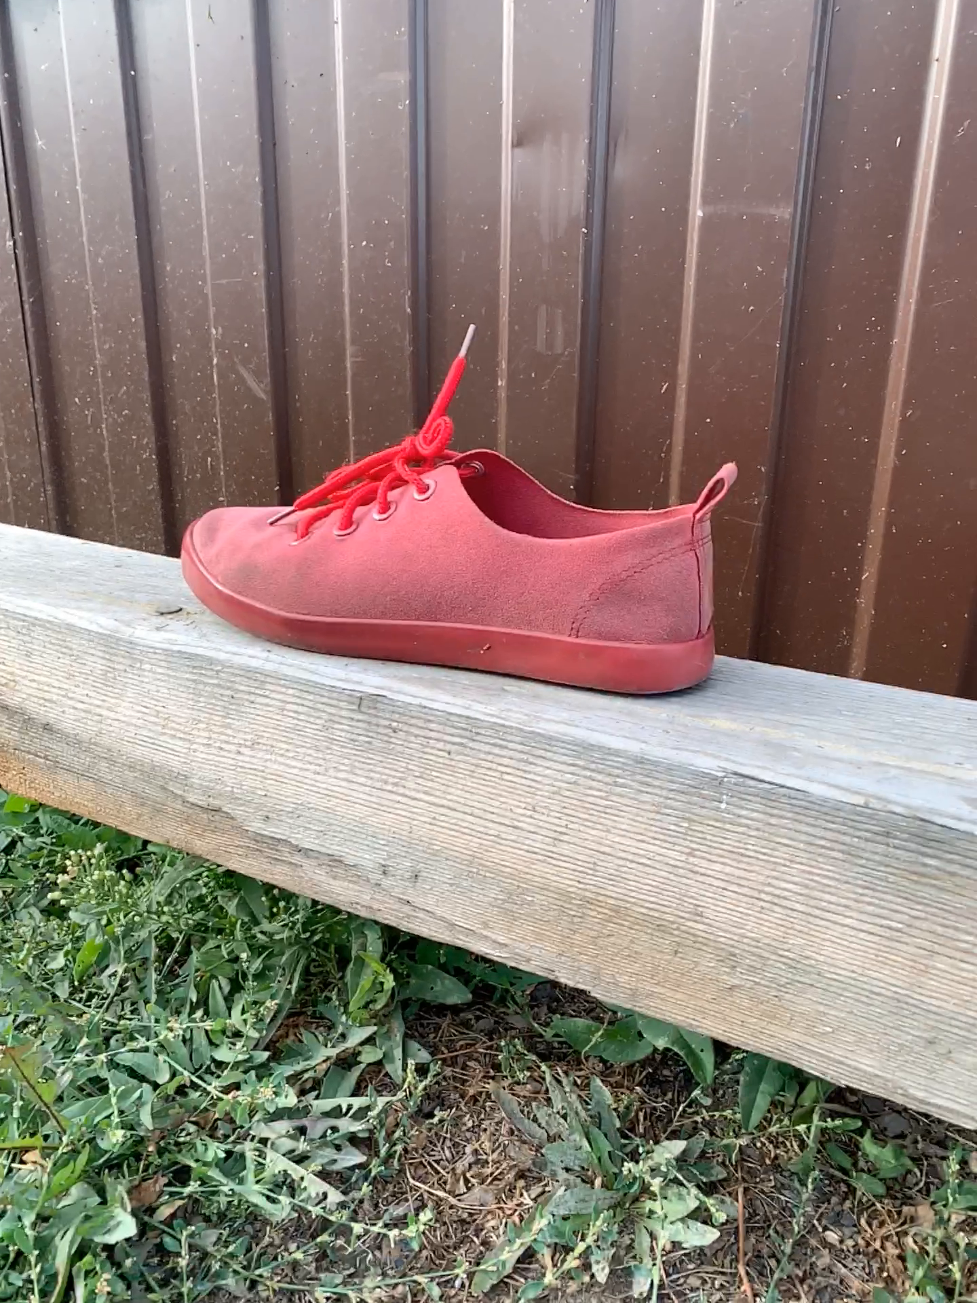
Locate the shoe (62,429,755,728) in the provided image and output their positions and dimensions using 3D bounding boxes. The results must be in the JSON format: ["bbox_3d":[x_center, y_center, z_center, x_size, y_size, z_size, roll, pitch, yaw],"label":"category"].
[{"bbox_3d":[-0.030,-0.040,0.387,0.240,0.070,0.101,8,19,21],"label":"shoe"}]
